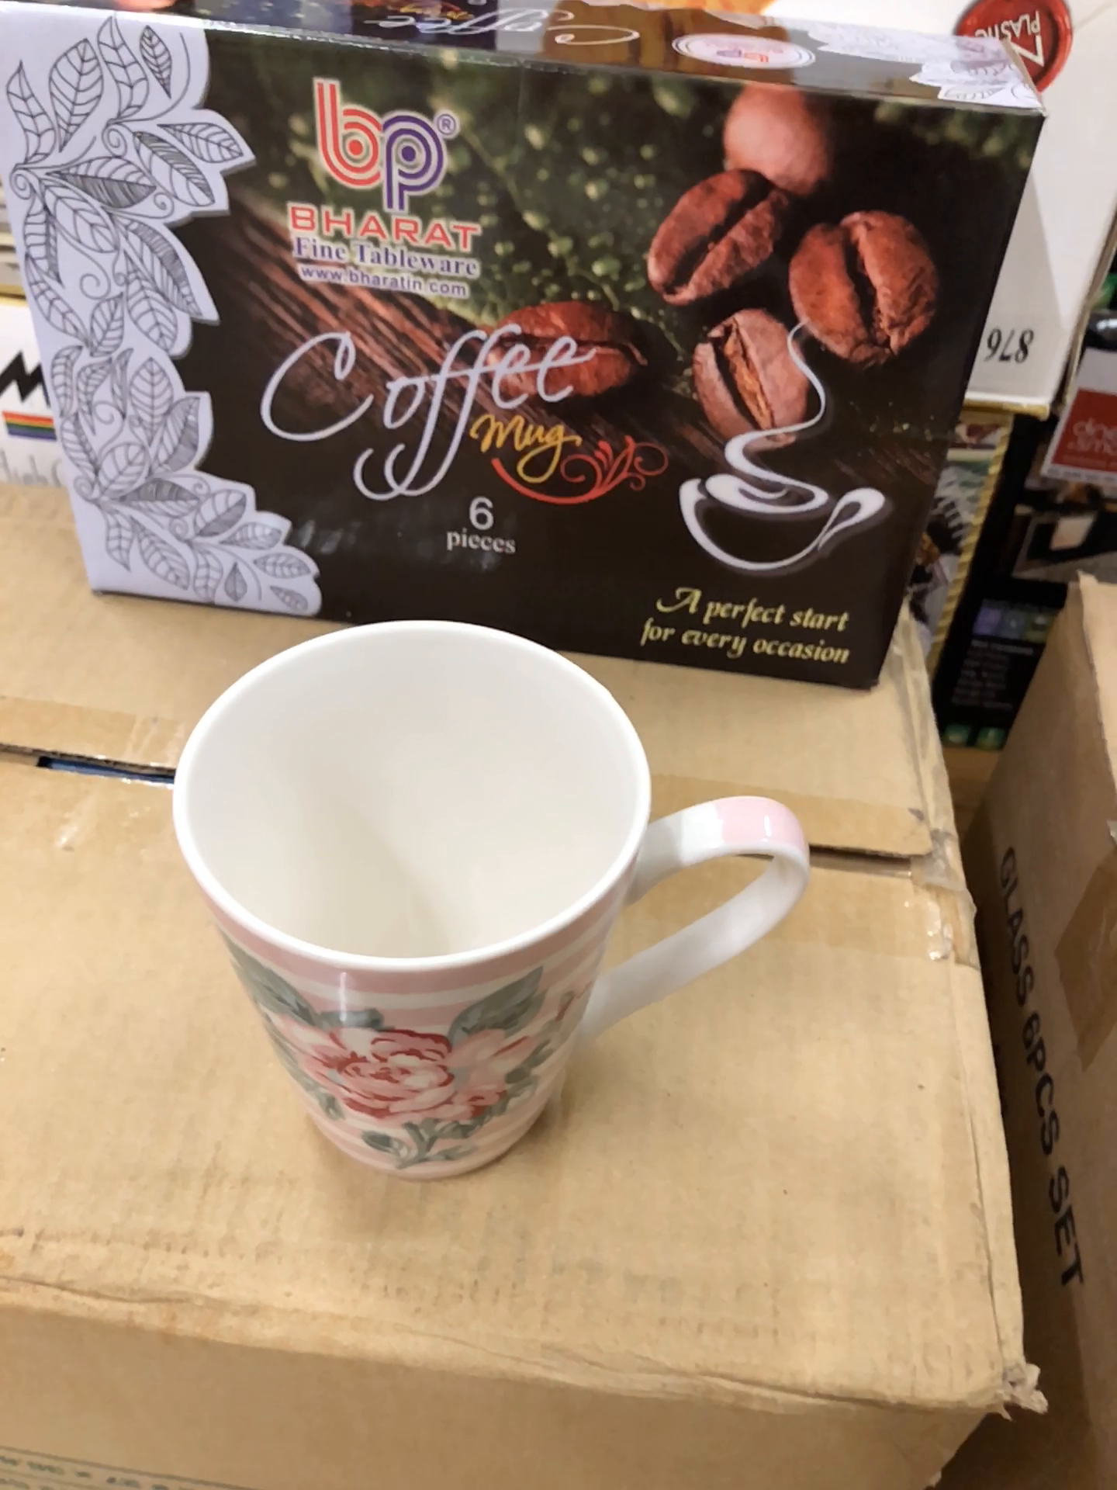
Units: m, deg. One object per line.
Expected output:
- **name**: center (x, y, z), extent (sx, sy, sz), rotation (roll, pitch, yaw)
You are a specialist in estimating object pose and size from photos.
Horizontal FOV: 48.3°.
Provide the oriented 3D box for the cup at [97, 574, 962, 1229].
- **cup**: center (-0.006, 0.032, 0.251), extent (0.130, 0.089, 0.091), rotation (2, 45, -2)
